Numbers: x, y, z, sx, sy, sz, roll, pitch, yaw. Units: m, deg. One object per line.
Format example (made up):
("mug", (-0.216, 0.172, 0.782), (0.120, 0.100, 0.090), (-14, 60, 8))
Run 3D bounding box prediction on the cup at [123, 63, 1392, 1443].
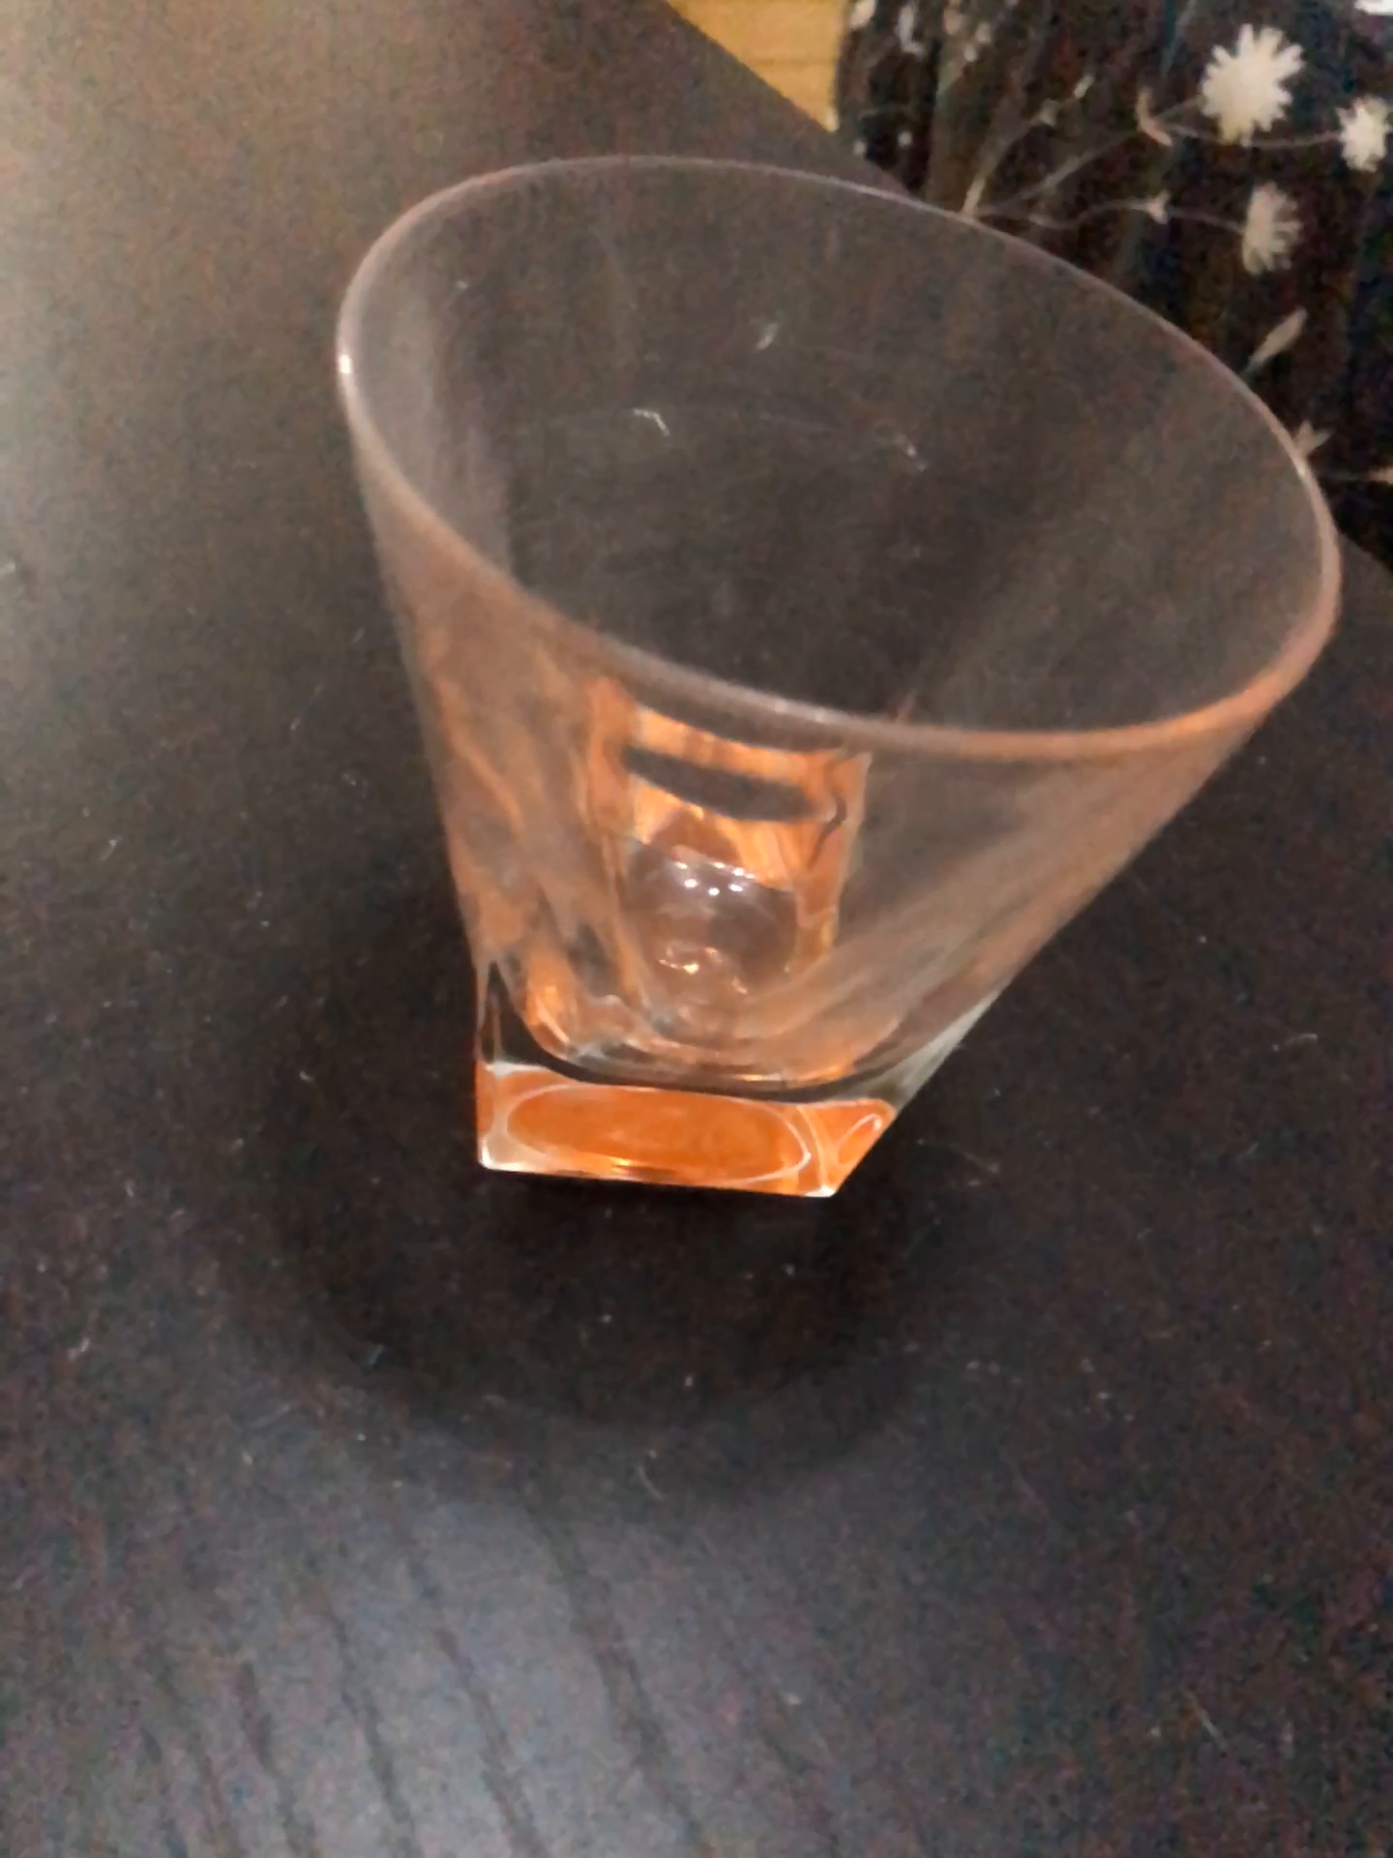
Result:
("cup", (0.007, -0.020, 0.188), (0.110, 0.099, 0.111), (8, 47, -9))
